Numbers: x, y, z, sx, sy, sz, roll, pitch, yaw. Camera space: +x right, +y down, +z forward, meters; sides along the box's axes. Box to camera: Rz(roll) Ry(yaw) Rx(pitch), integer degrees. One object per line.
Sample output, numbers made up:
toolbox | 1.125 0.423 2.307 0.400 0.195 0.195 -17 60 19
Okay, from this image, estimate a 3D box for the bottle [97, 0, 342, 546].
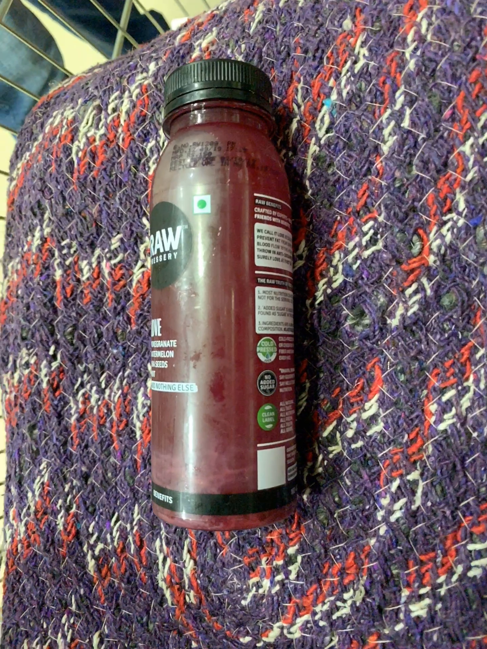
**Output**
bottle | -0.009 -0.024 0.180 0.060 0.060 0.170 -5 84 49
